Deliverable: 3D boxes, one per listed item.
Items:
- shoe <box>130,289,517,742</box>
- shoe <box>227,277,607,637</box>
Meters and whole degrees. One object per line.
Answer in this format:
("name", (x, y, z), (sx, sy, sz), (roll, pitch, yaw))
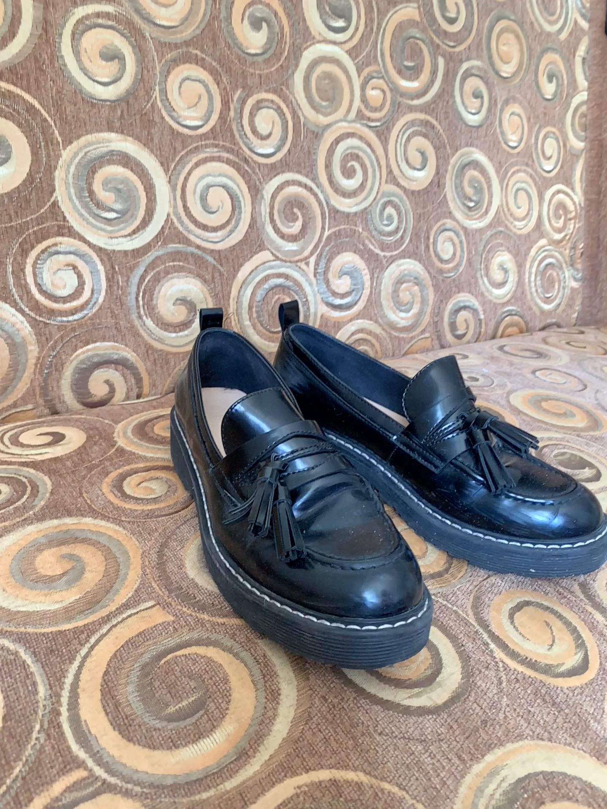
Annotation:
("shoe", (-0.018, 0.029, 0.338), (0.090, 0.099, 0.241), (-8, 33, -28))
("shoe", (0.073, 0.012, 0.384), (0.240, 0.099, 0.090), (27, 34, 31))
